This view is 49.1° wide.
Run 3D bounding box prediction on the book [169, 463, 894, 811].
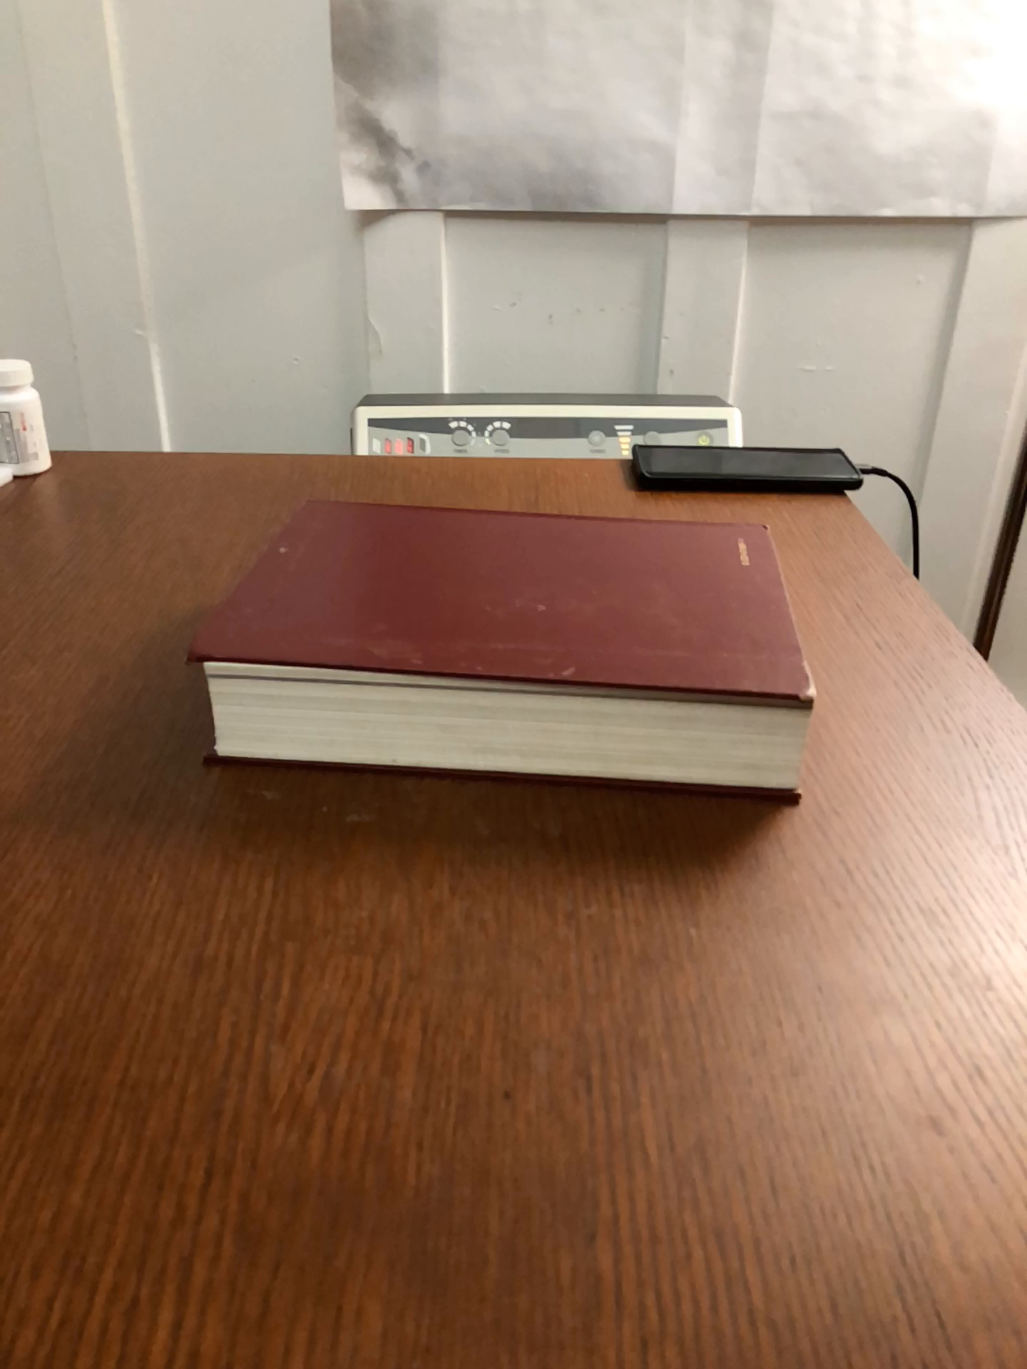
[{"bbox_3d":[0.014,-0.038,0.561,0.290,0.070,0.221,3,28,5],"label":"book"}]
